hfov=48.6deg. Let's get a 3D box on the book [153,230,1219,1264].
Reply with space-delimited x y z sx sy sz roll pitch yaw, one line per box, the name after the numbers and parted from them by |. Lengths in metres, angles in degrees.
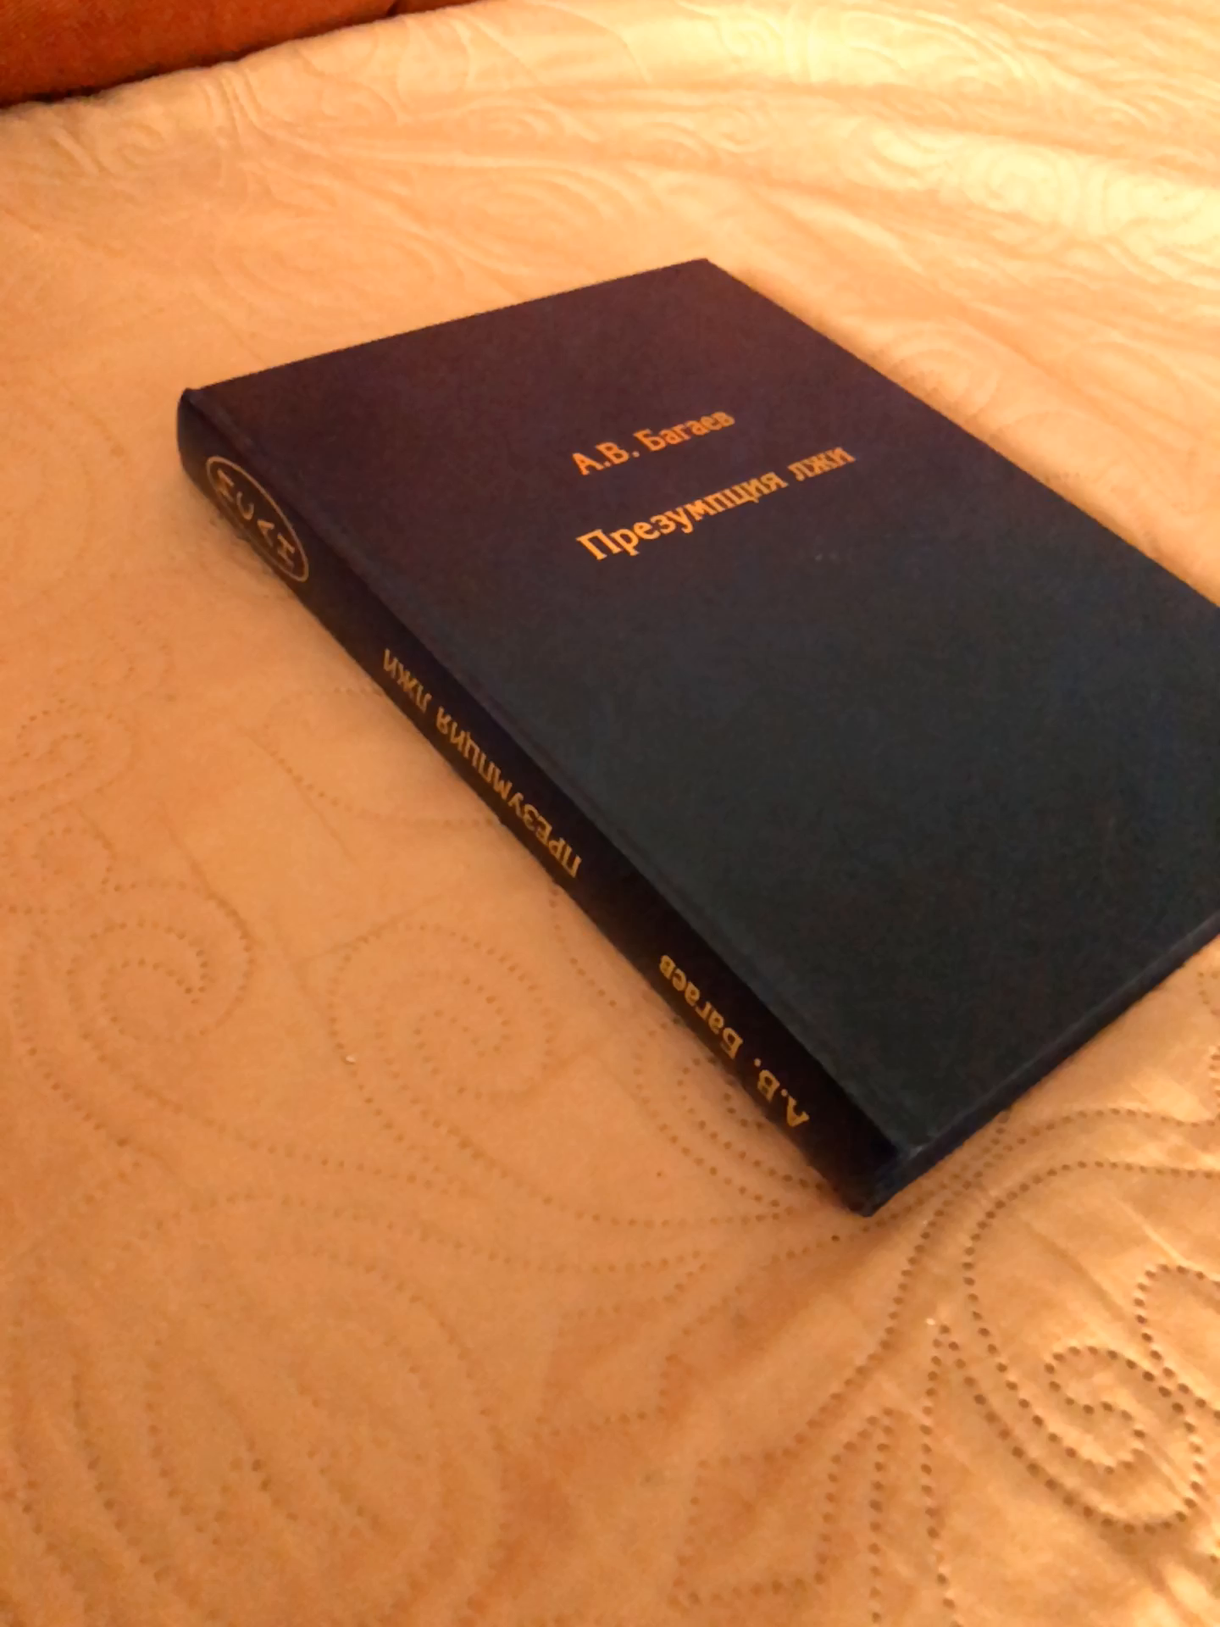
0.036 -0.052 0.328 0.181 0.030 0.261 -27 59 -29 | book
